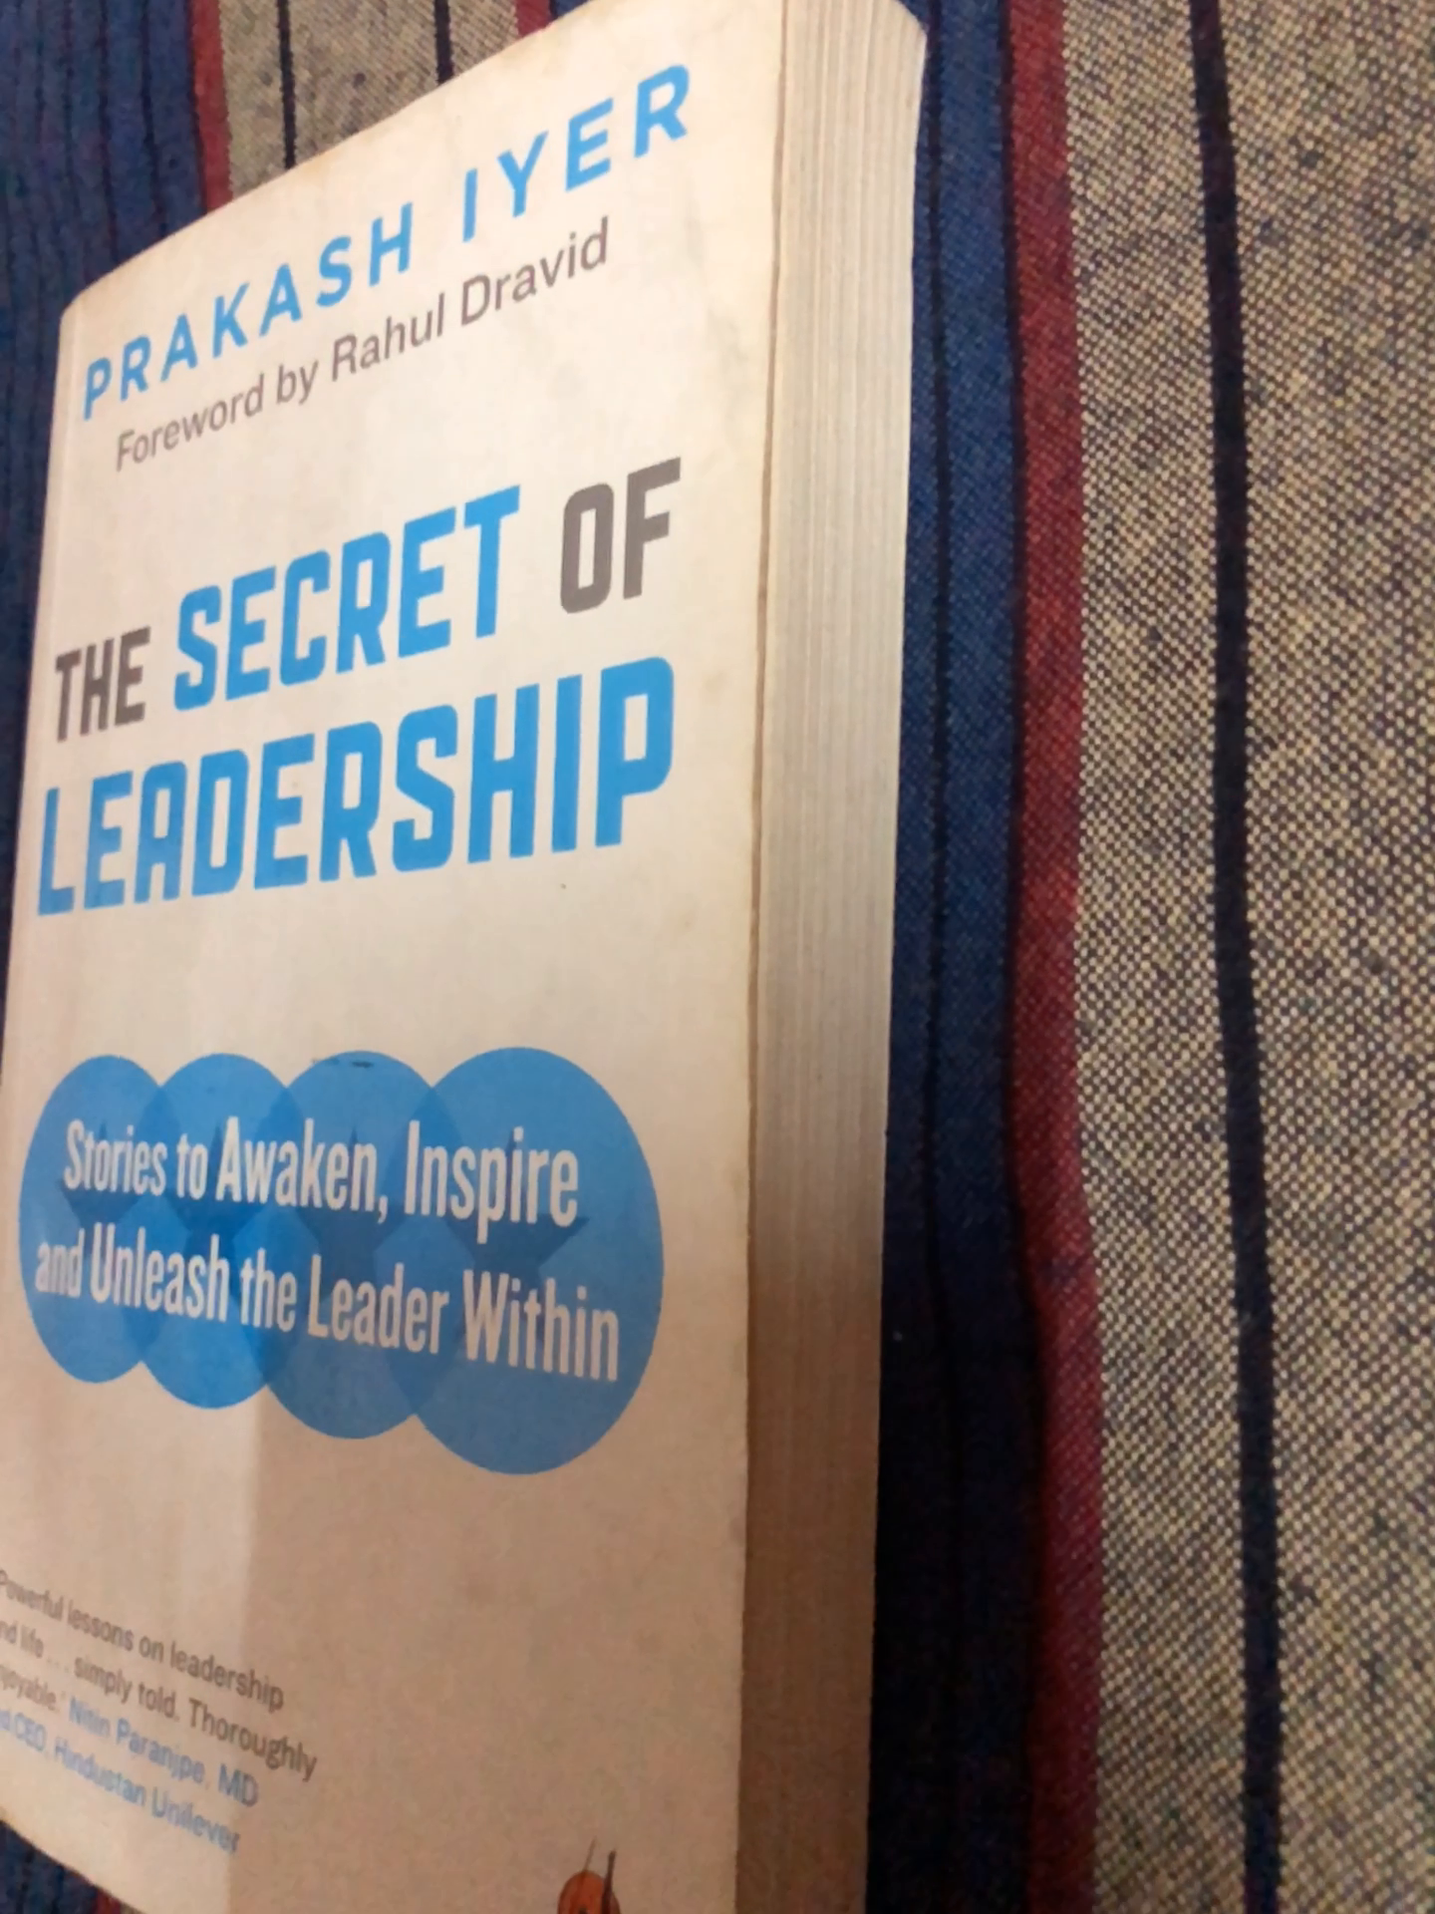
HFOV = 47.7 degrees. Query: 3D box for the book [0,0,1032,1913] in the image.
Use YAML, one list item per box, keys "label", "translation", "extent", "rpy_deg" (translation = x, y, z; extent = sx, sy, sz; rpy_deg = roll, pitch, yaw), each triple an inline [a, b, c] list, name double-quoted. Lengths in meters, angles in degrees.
- label: "book"
  translation: [-0.039, -0.003, 0.171]
  extent: [0.141, 0.030, 0.190]
  rpy_deg: [-3, 81, 37]
